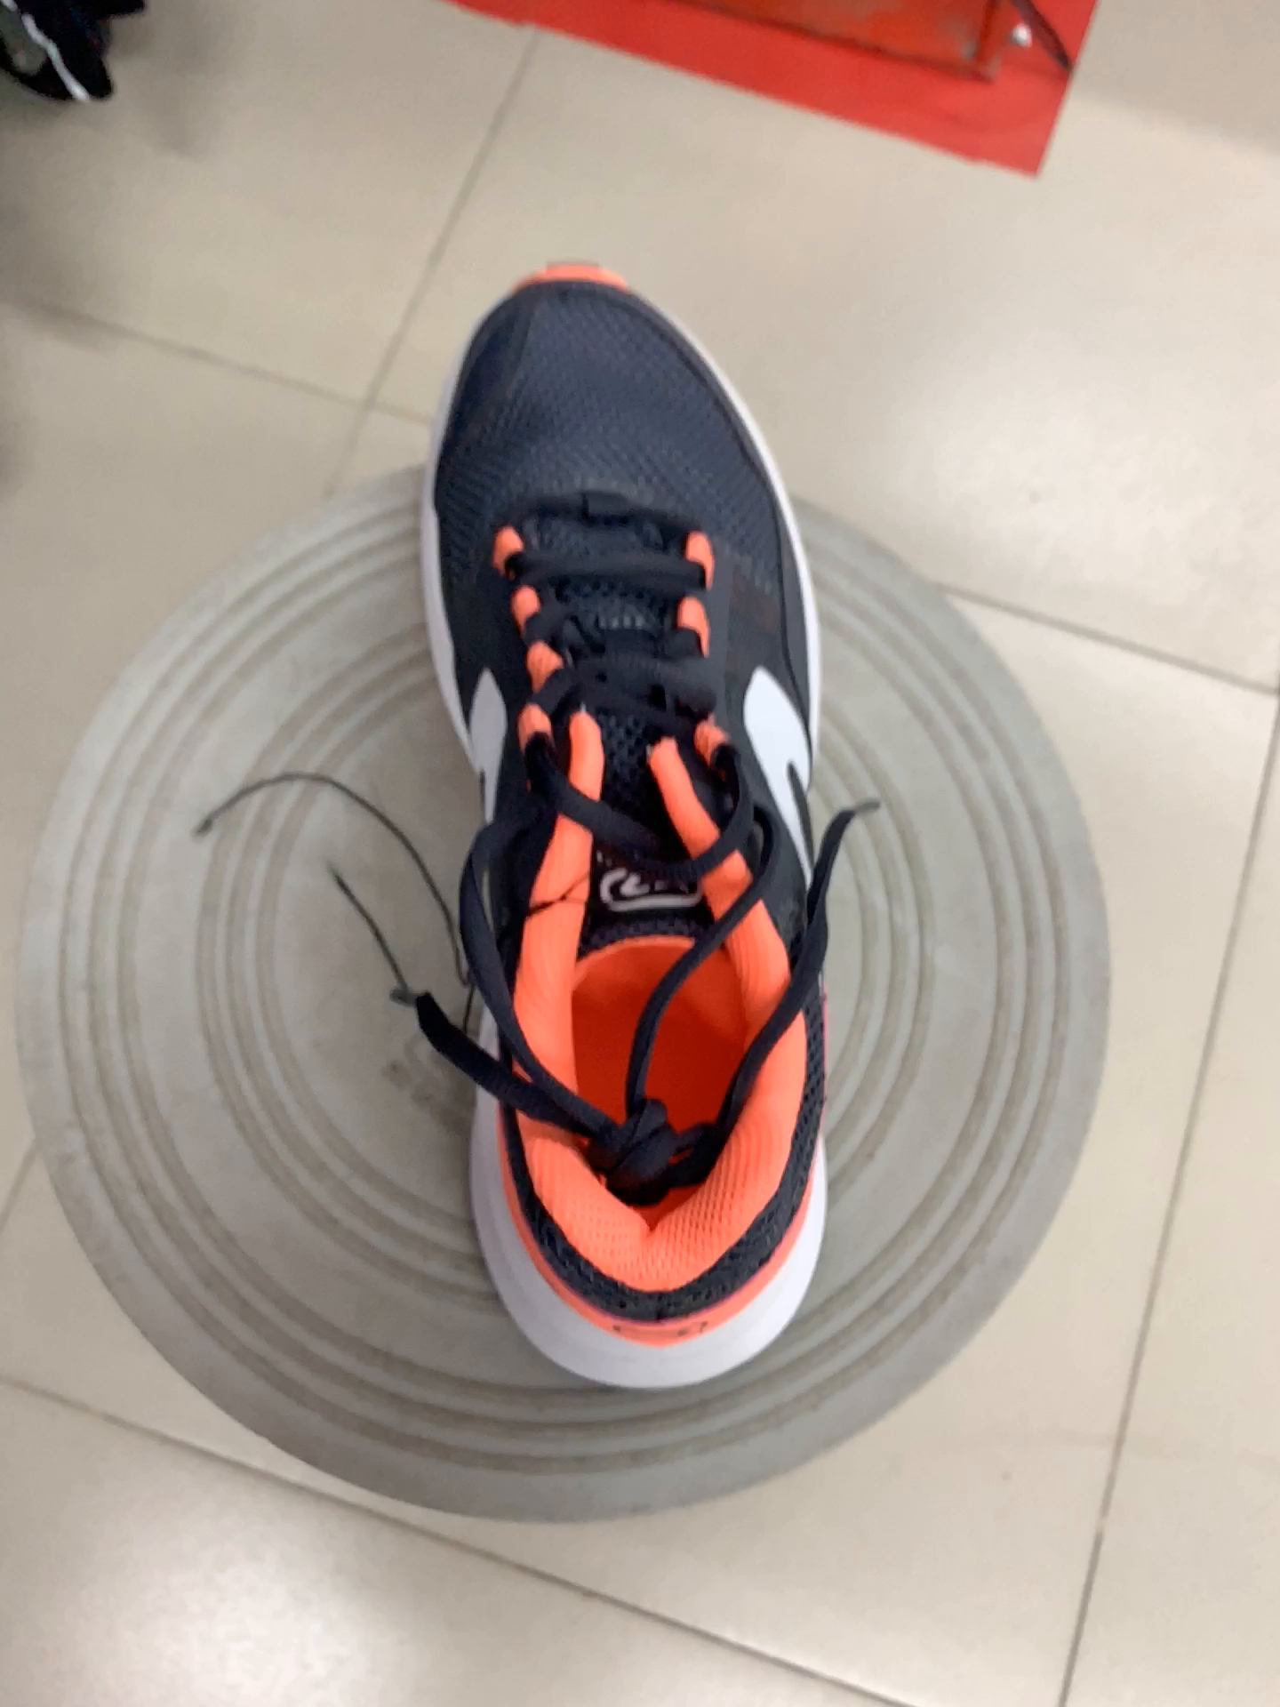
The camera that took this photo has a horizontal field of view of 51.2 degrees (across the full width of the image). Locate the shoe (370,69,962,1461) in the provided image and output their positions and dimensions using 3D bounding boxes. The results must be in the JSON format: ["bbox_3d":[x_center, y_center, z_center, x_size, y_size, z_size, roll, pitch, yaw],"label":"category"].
[{"bbox_3d":[-0.005,-0.023,0.325,0.100,0.120,0.290,-3,75,-3],"label":"shoe"}]
